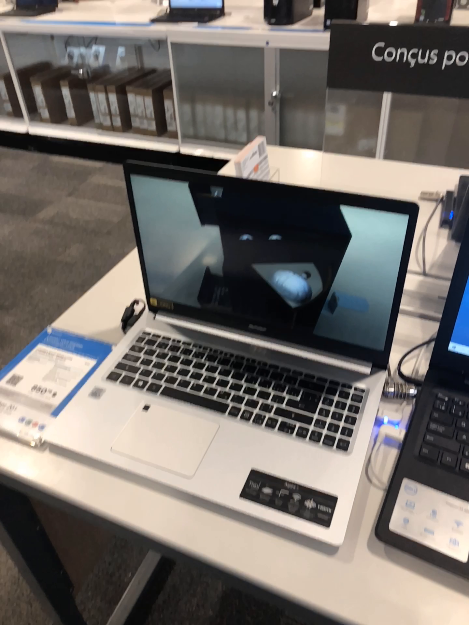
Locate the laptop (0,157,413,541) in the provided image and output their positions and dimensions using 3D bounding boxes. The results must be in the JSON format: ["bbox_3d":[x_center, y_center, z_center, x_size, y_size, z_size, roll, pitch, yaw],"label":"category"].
[{"bbox_3d":[-0.020,0.010,0.575,0.349,0.229,0.267,13,42,20],"label":"laptop"}]
